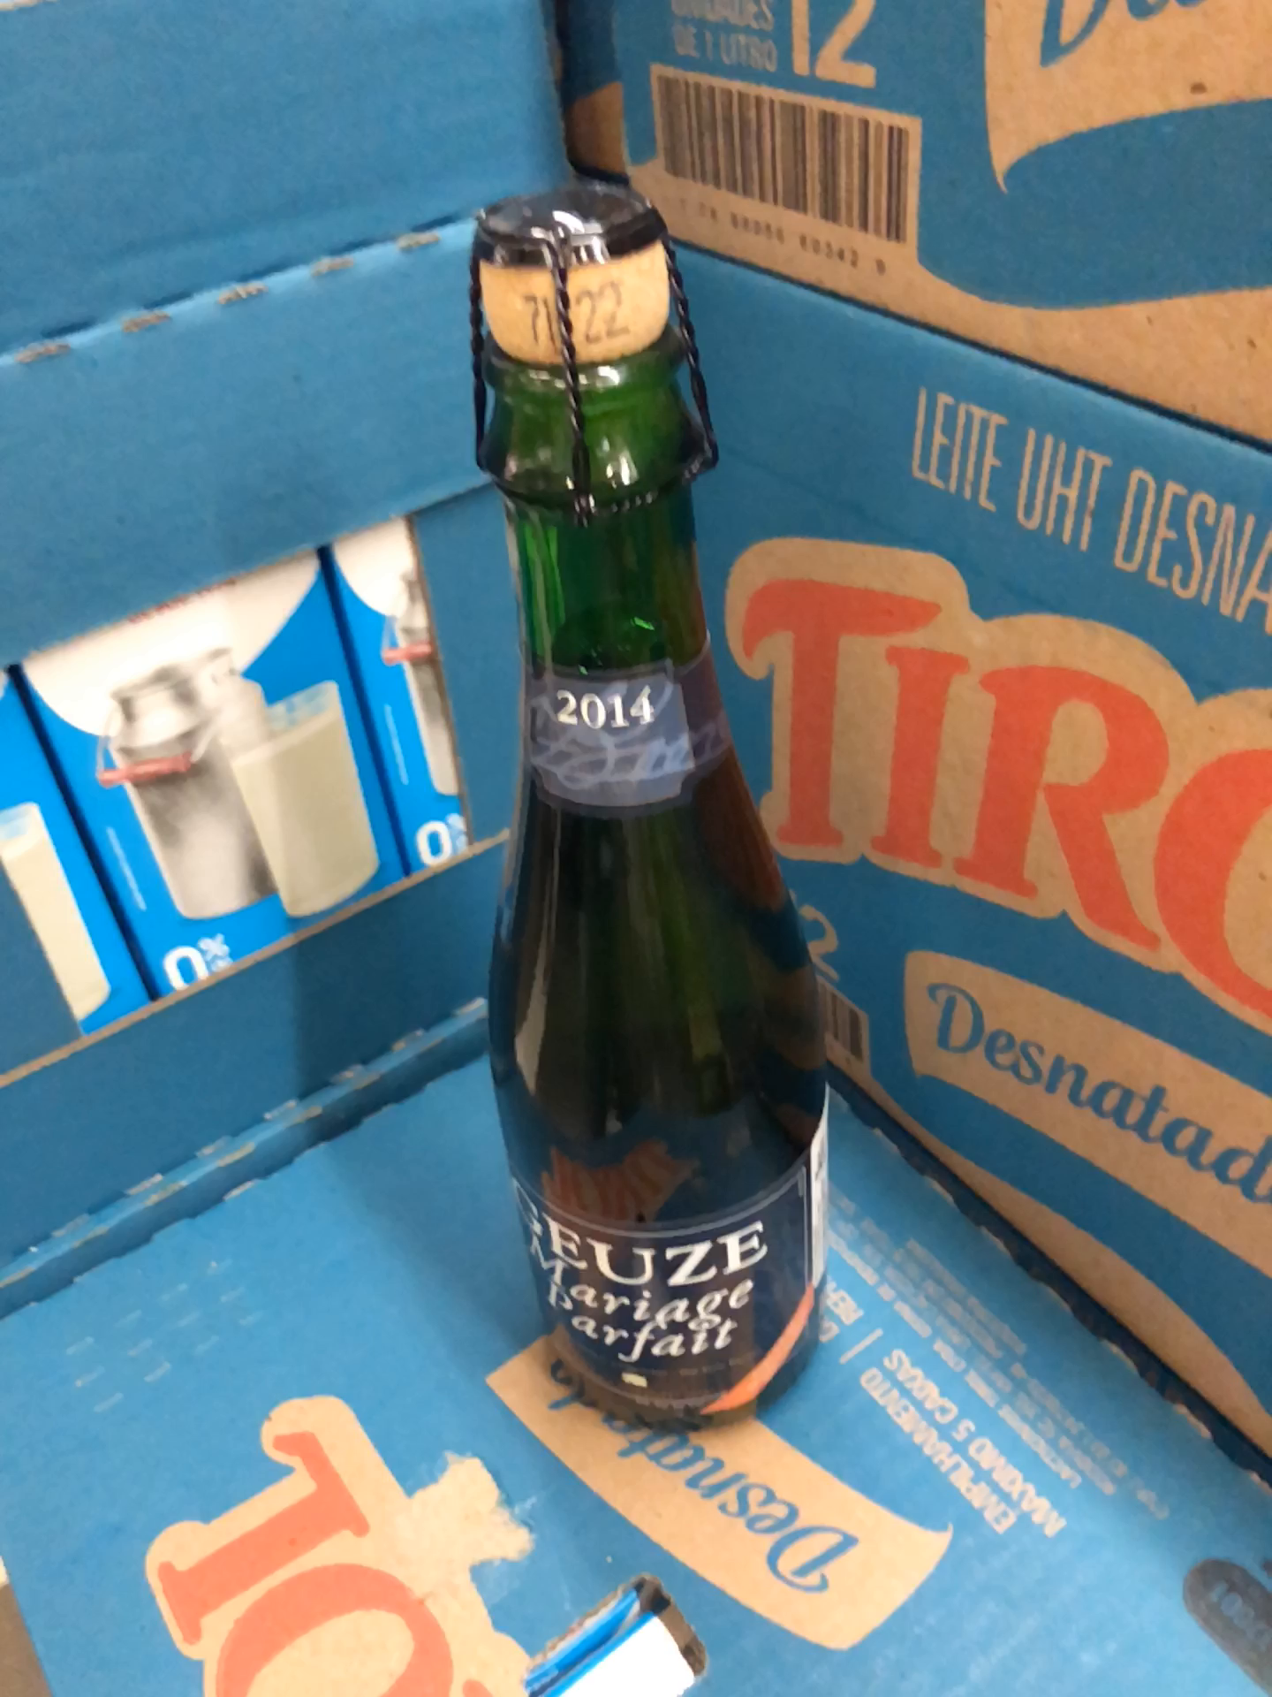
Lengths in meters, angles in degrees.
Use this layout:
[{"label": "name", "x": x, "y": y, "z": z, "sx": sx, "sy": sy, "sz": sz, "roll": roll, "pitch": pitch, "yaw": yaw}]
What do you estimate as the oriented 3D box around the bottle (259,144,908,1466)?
[{"label": "bottle", "x": 0.004, "y": 0.017, "z": 0.265, "sx": 0.070, "sy": 0.258, "sz": 0.060, "roll": 6, "pitch": 41, "yaw": 13}]
